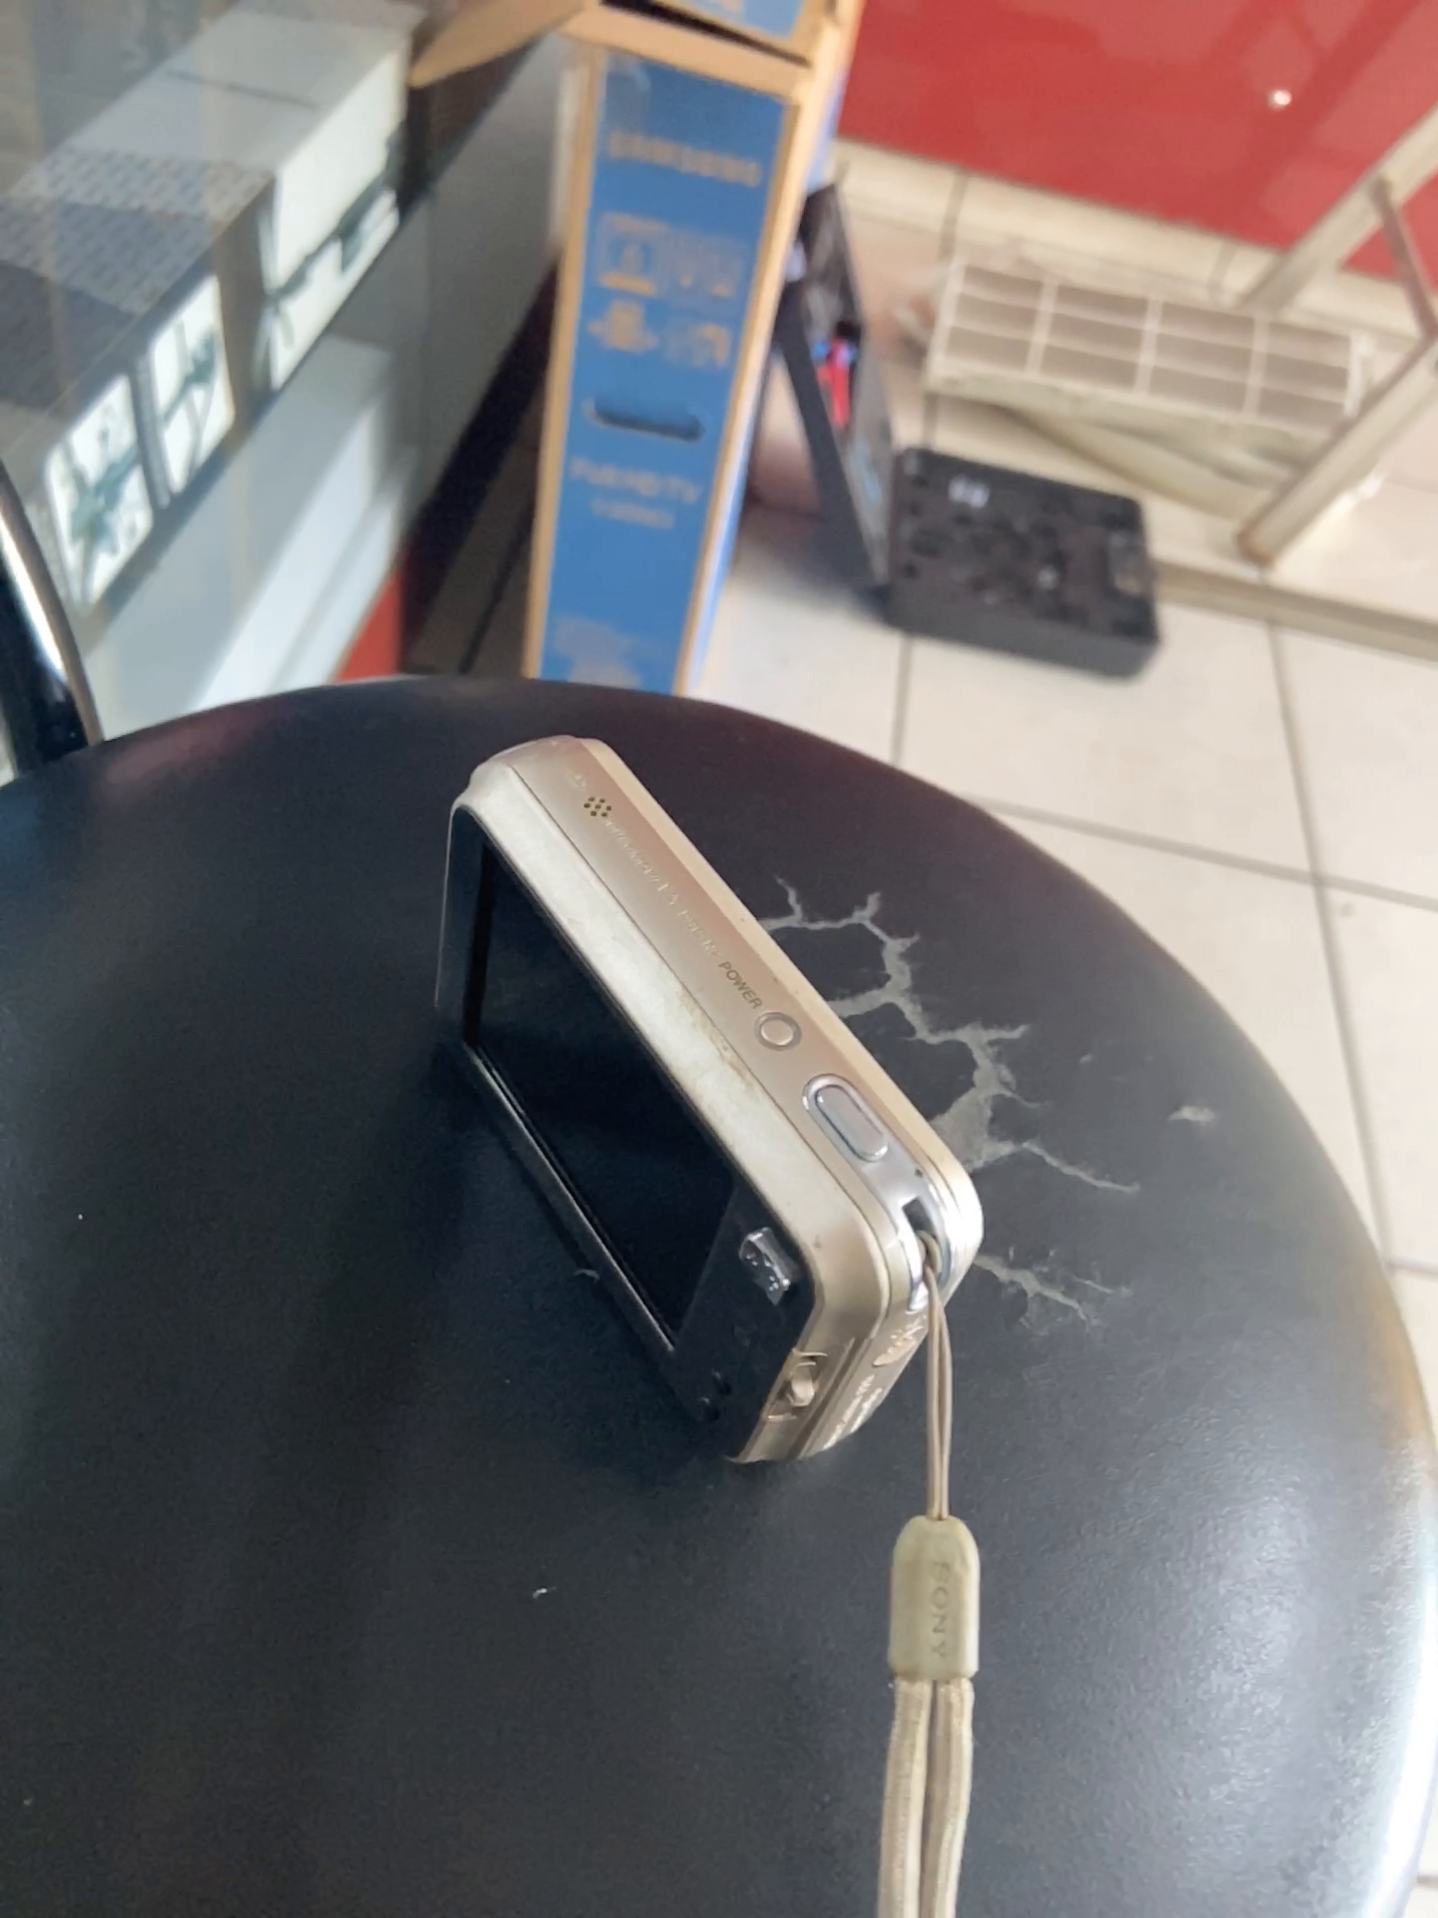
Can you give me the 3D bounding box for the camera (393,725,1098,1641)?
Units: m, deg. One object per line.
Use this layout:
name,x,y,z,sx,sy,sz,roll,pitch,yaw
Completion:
camera,-0.006,0.028,0.210,0.030,0.060,0.110,-22,58,-29
